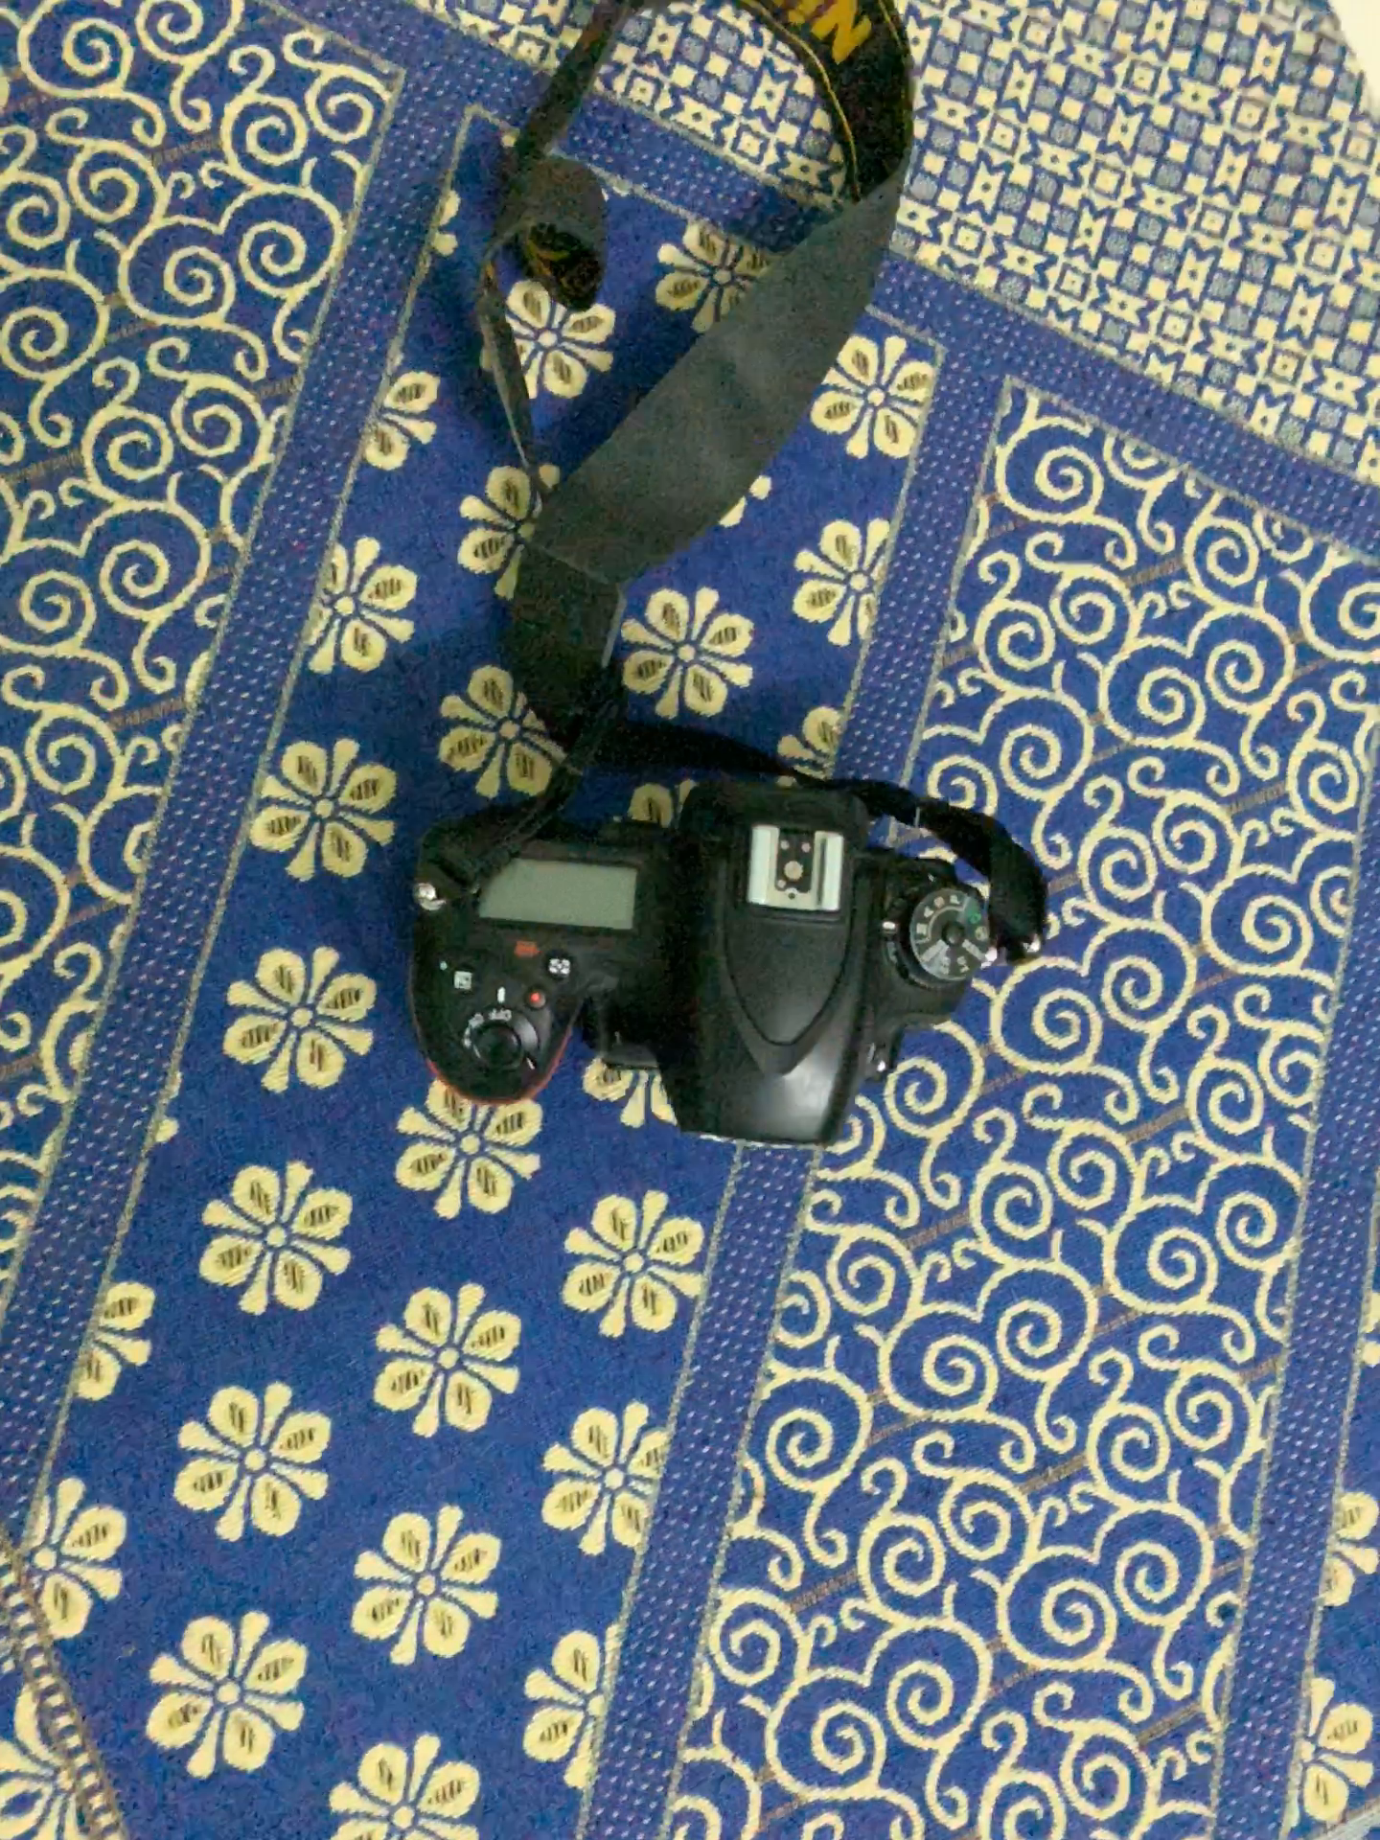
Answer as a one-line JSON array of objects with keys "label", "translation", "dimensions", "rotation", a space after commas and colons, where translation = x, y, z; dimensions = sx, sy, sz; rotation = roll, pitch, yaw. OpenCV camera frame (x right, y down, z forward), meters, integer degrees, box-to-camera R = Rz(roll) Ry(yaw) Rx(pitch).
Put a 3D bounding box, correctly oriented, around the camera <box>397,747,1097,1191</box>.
[{"label": "camera", "translation": [0.010, 0.016, 0.351], "dimensions": [0.150, 0.090, 0.088], "rotation": [4, 83, -7]}]
